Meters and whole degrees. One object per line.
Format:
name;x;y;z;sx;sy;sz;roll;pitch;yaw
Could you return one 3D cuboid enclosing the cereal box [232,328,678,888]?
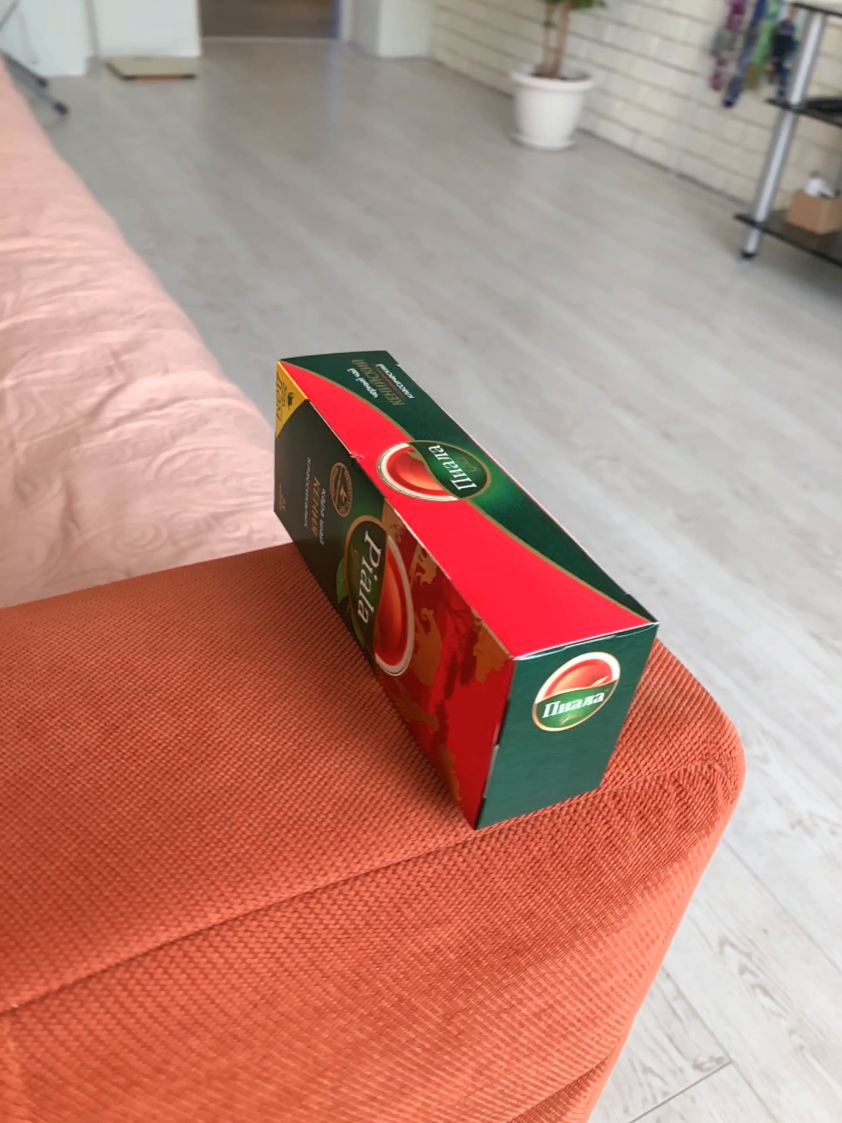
cereal box;-0.005;-0.001;0.281;0.050;0.069;0.171;-13;41;-24
